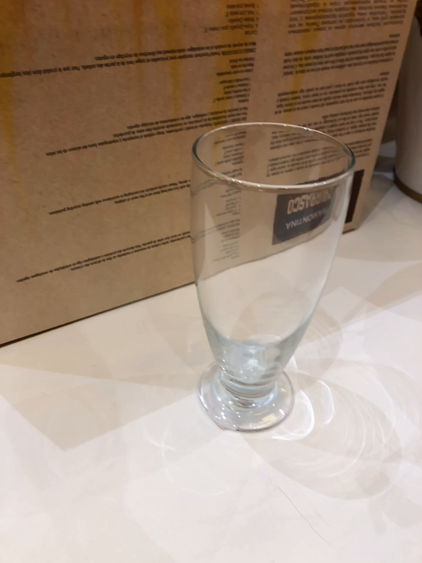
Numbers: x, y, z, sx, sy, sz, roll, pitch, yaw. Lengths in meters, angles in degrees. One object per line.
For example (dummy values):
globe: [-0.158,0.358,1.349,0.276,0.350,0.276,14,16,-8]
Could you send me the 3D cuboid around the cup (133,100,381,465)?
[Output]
cup: [0.019,0.004,0.284,0.090,0.189,0.080,-20,41,-26]
